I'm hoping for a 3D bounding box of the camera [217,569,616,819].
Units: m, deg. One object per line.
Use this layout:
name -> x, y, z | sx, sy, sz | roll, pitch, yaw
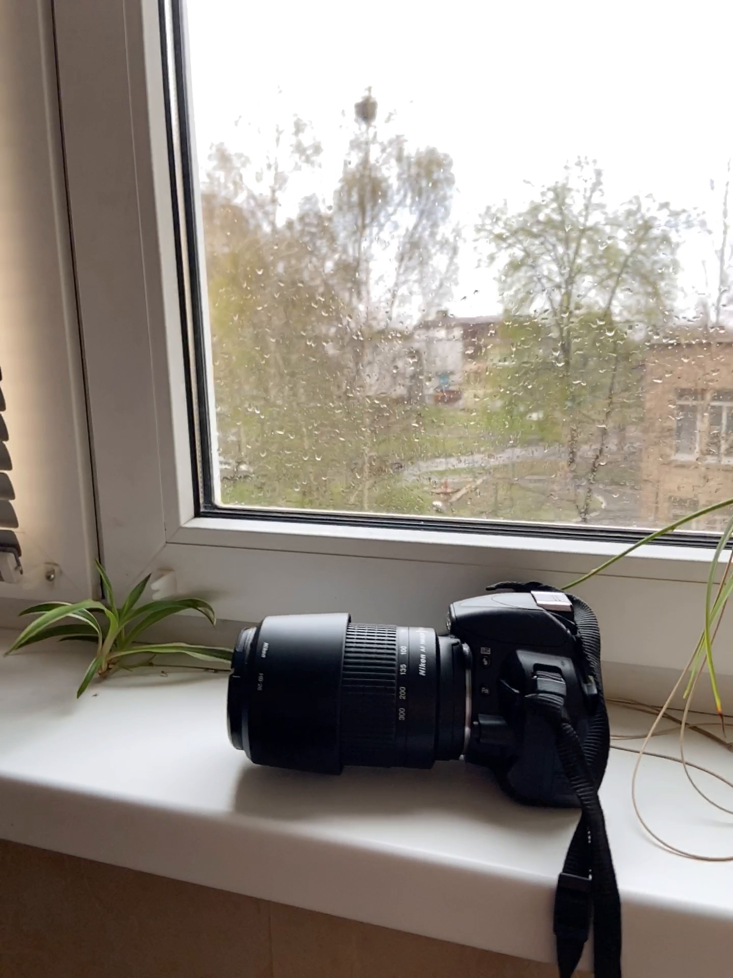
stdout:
camera -> 0.025, 0.108, 0.428 | 0.190, 0.089, 0.125 | 0, 11, 2
